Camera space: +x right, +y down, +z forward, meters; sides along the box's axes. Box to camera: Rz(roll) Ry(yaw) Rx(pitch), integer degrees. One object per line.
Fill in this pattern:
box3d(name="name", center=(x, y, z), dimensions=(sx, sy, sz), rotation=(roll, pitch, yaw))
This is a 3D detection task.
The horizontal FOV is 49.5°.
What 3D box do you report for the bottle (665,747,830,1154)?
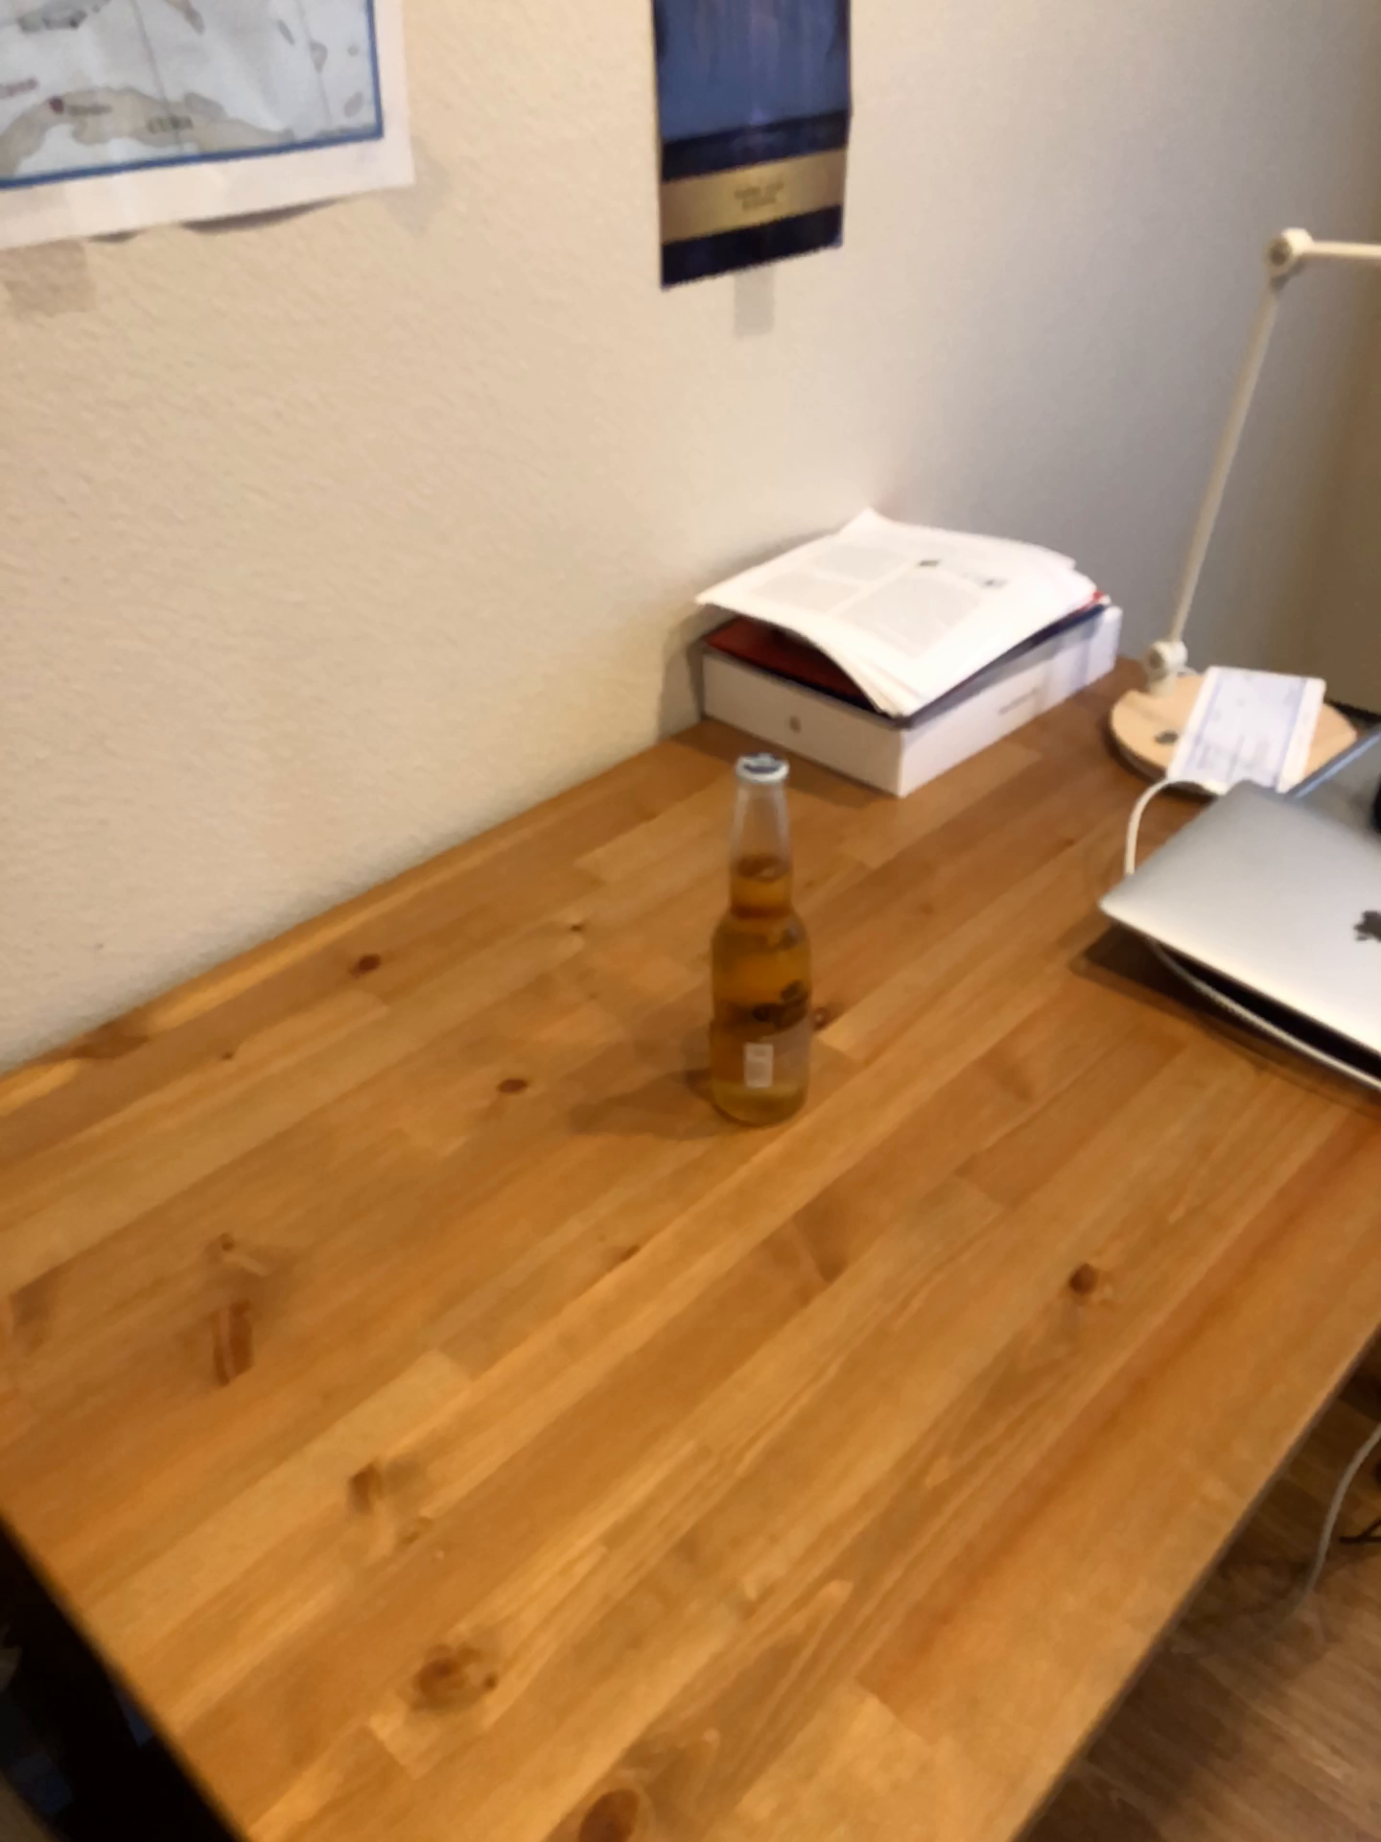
box3d(name="bottle", center=(0.033, 0.021, 0.883), dimensions=(0.070, 0.229, 0.070), rotation=(-1, 35, 1))
